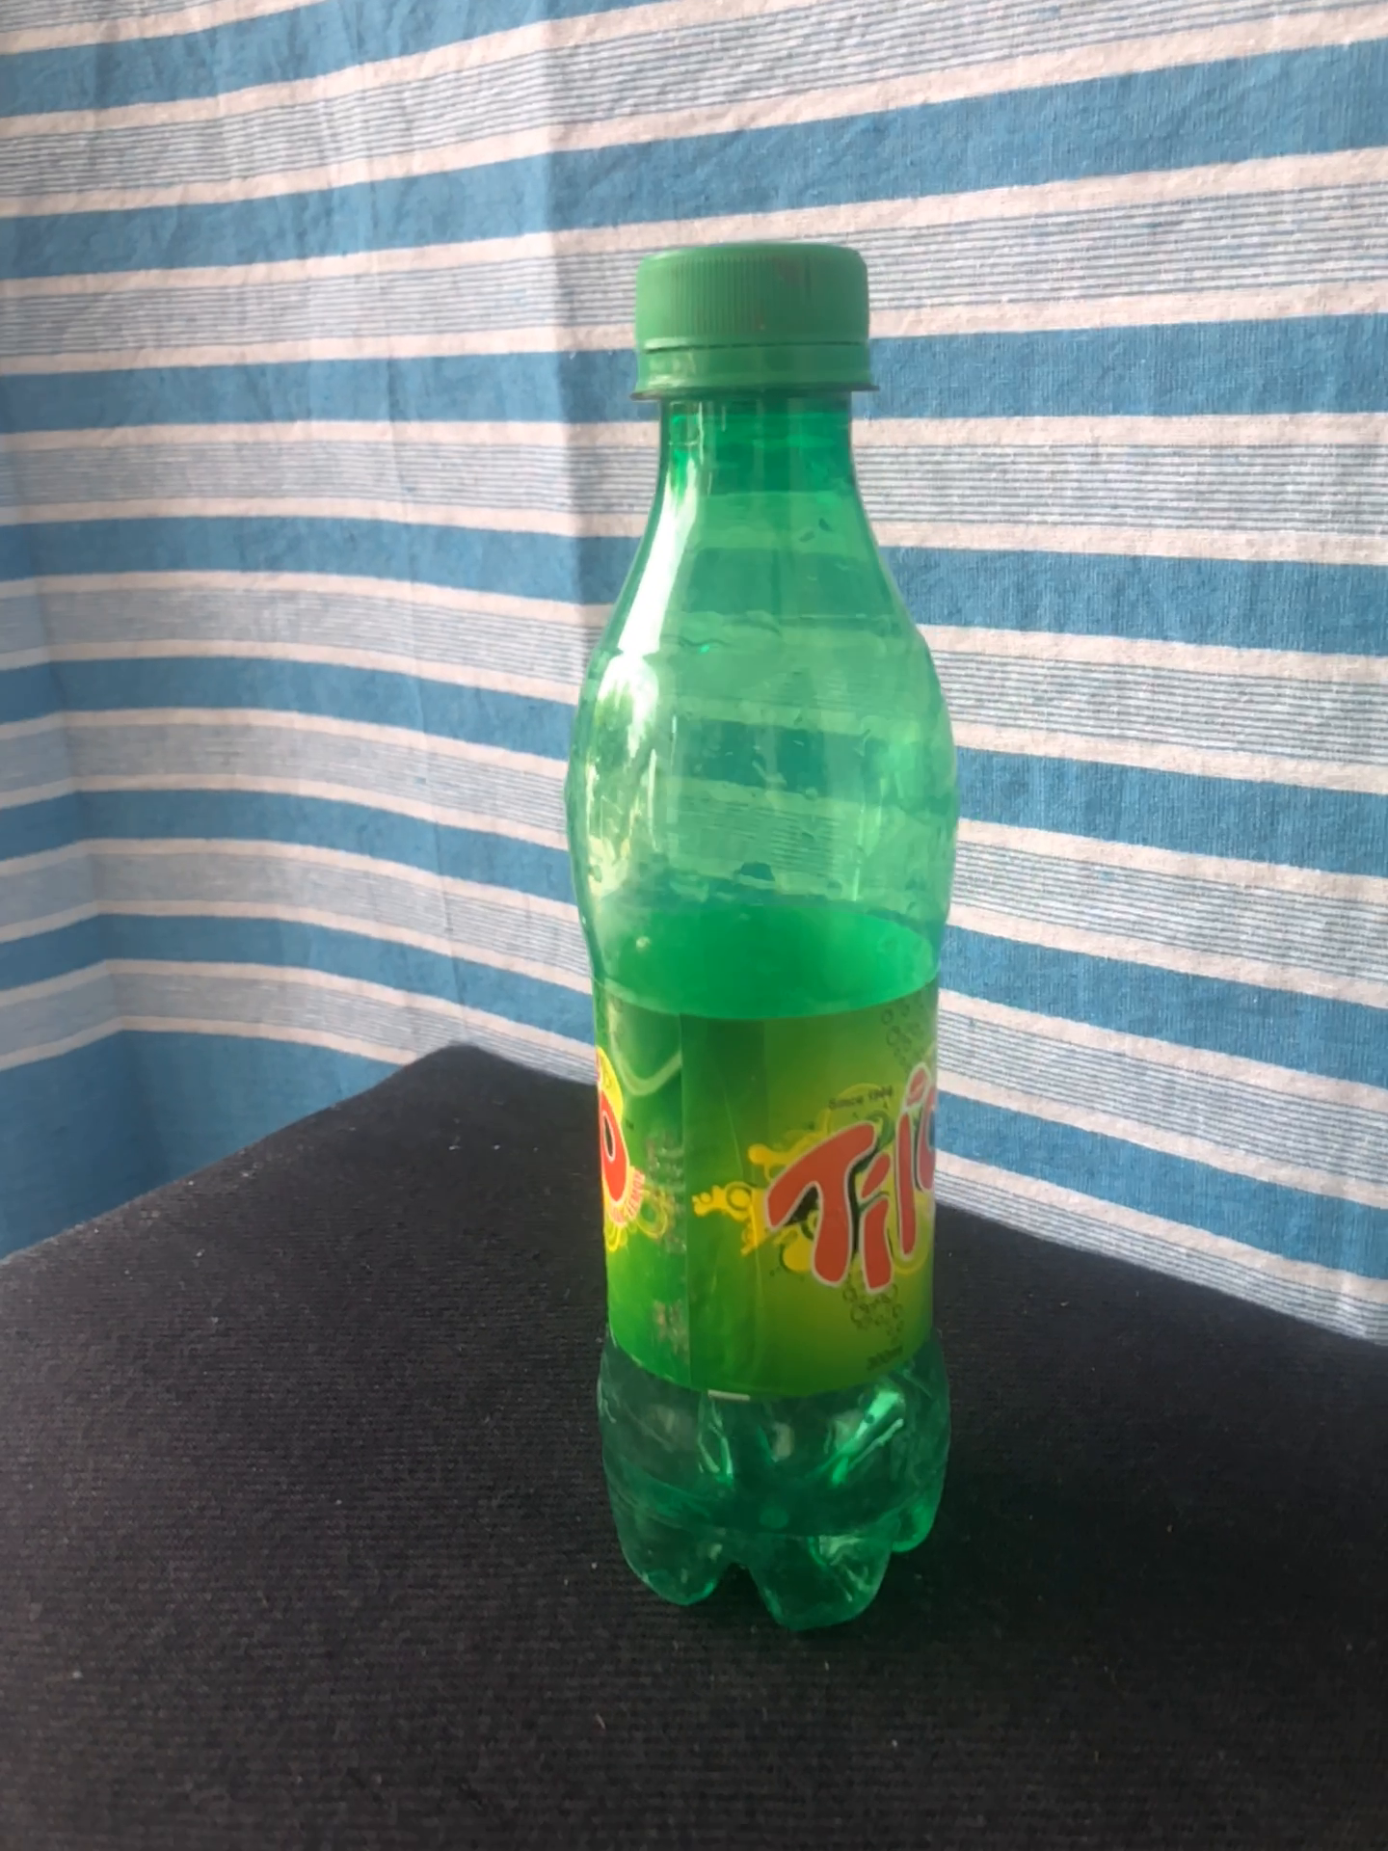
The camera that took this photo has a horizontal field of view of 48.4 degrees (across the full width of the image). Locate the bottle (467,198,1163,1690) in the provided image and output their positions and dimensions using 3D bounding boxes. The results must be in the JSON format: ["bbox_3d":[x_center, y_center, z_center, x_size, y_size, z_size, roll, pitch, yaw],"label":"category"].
[{"bbox_3d":[0.010,0.004,0.232,0.070,0.199,0.070,0,21,0],"label":"bottle"}]
